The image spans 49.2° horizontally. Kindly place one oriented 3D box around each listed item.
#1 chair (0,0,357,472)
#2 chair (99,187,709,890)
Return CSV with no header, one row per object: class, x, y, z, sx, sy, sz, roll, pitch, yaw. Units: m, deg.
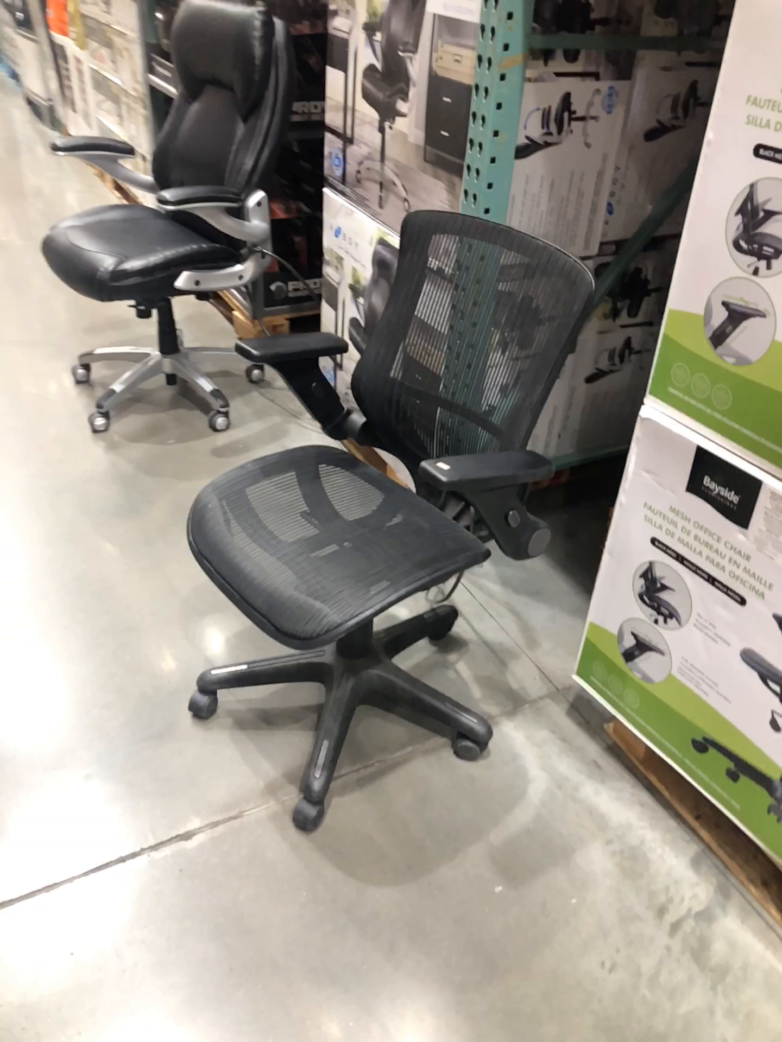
chair,-0.712,-0.955,2.650,0.800,1.145,0.907,-21,42,-31
chair,-0.011,-0.019,1.579,0.700,0.936,0.636,-22,42,-32
